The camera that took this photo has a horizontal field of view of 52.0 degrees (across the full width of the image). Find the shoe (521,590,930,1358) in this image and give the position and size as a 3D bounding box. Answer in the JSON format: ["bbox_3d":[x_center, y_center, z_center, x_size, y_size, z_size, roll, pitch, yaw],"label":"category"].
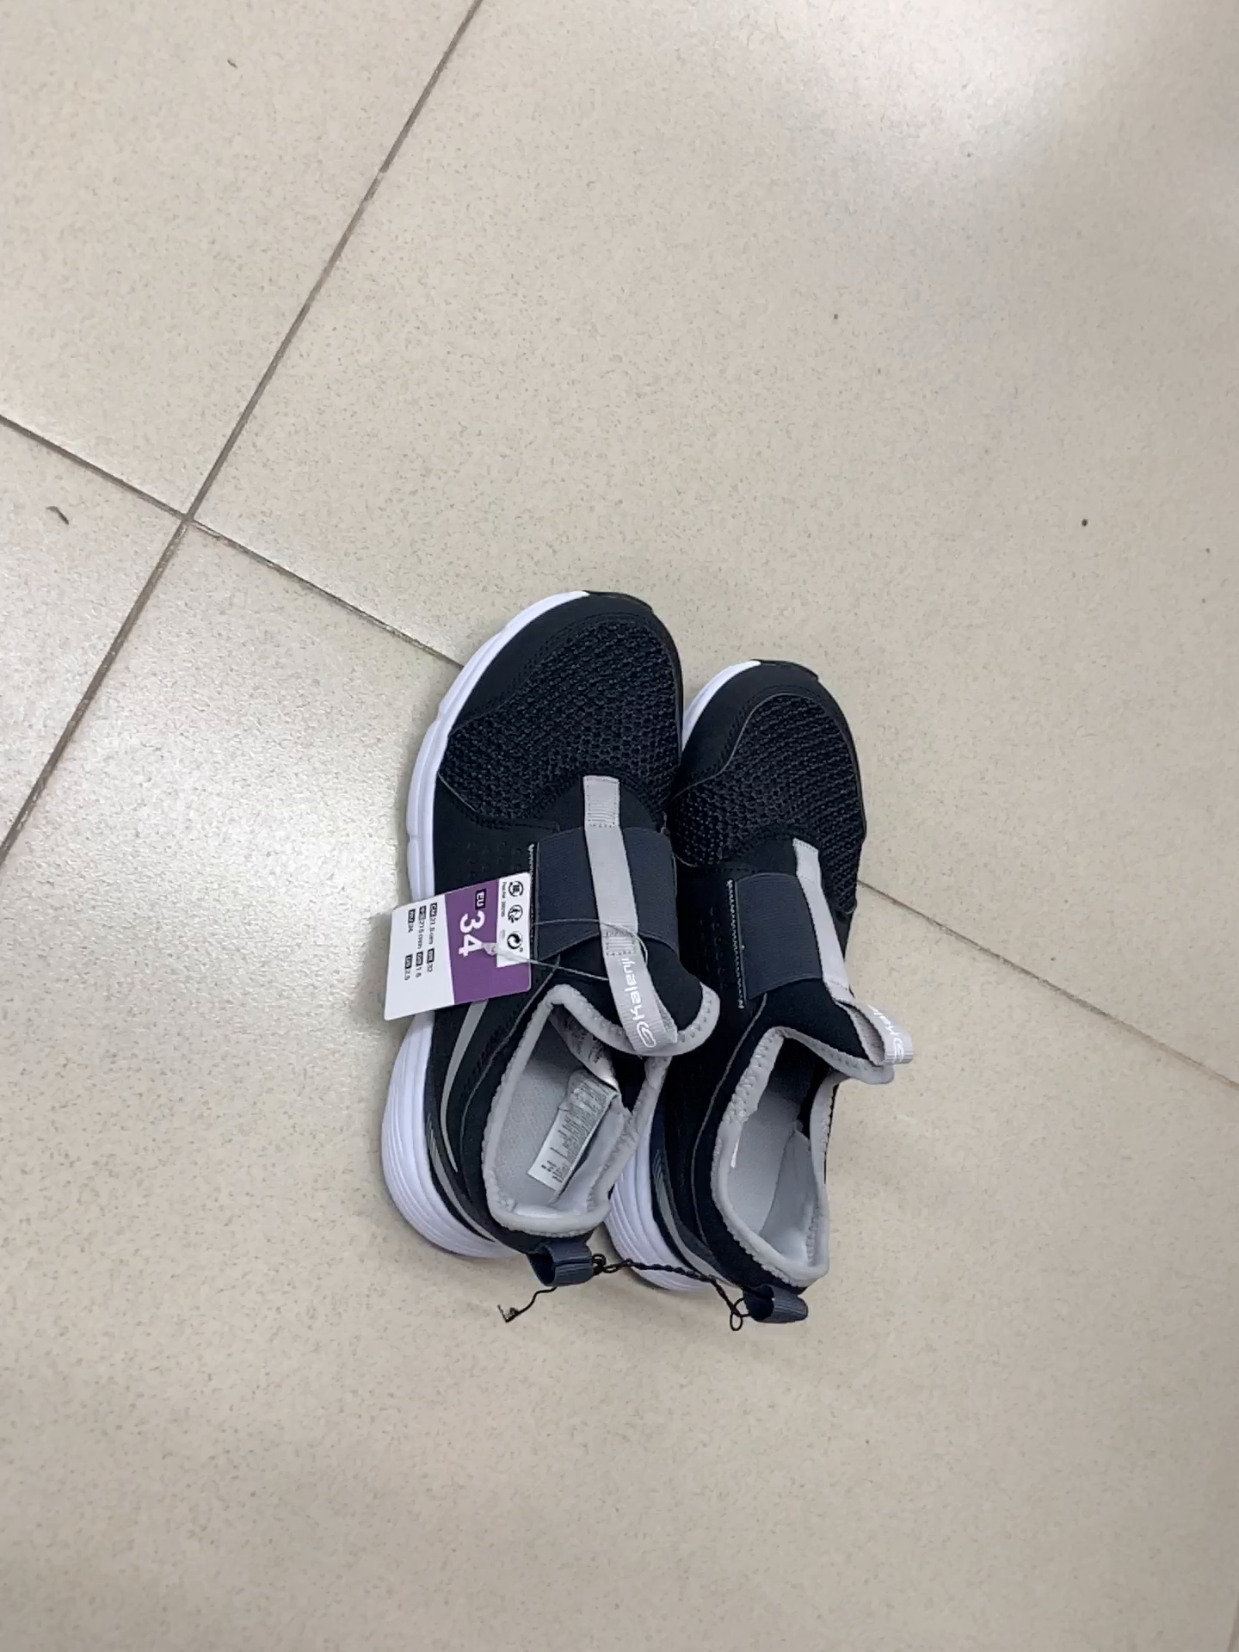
[{"bbox_3d":[0.040,0.053,0.473,0.090,0.080,0.250,14,78,-21],"label":"shoe"}]

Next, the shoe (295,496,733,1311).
[{"bbox_3d":[-0.036,0.027,0.447,0.090,0.080,0.250,14,78,-21],"label":"shoe"}]
